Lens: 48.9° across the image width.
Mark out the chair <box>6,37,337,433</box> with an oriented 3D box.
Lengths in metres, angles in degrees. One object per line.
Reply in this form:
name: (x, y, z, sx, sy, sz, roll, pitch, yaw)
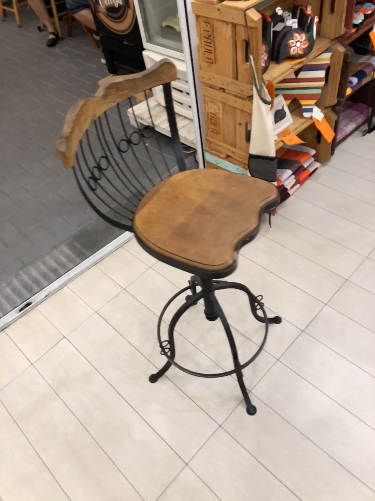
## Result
chair: (0.039, 0.002, 1.108, 0.471, 0.894, 0.462, 18, 52, 25)
